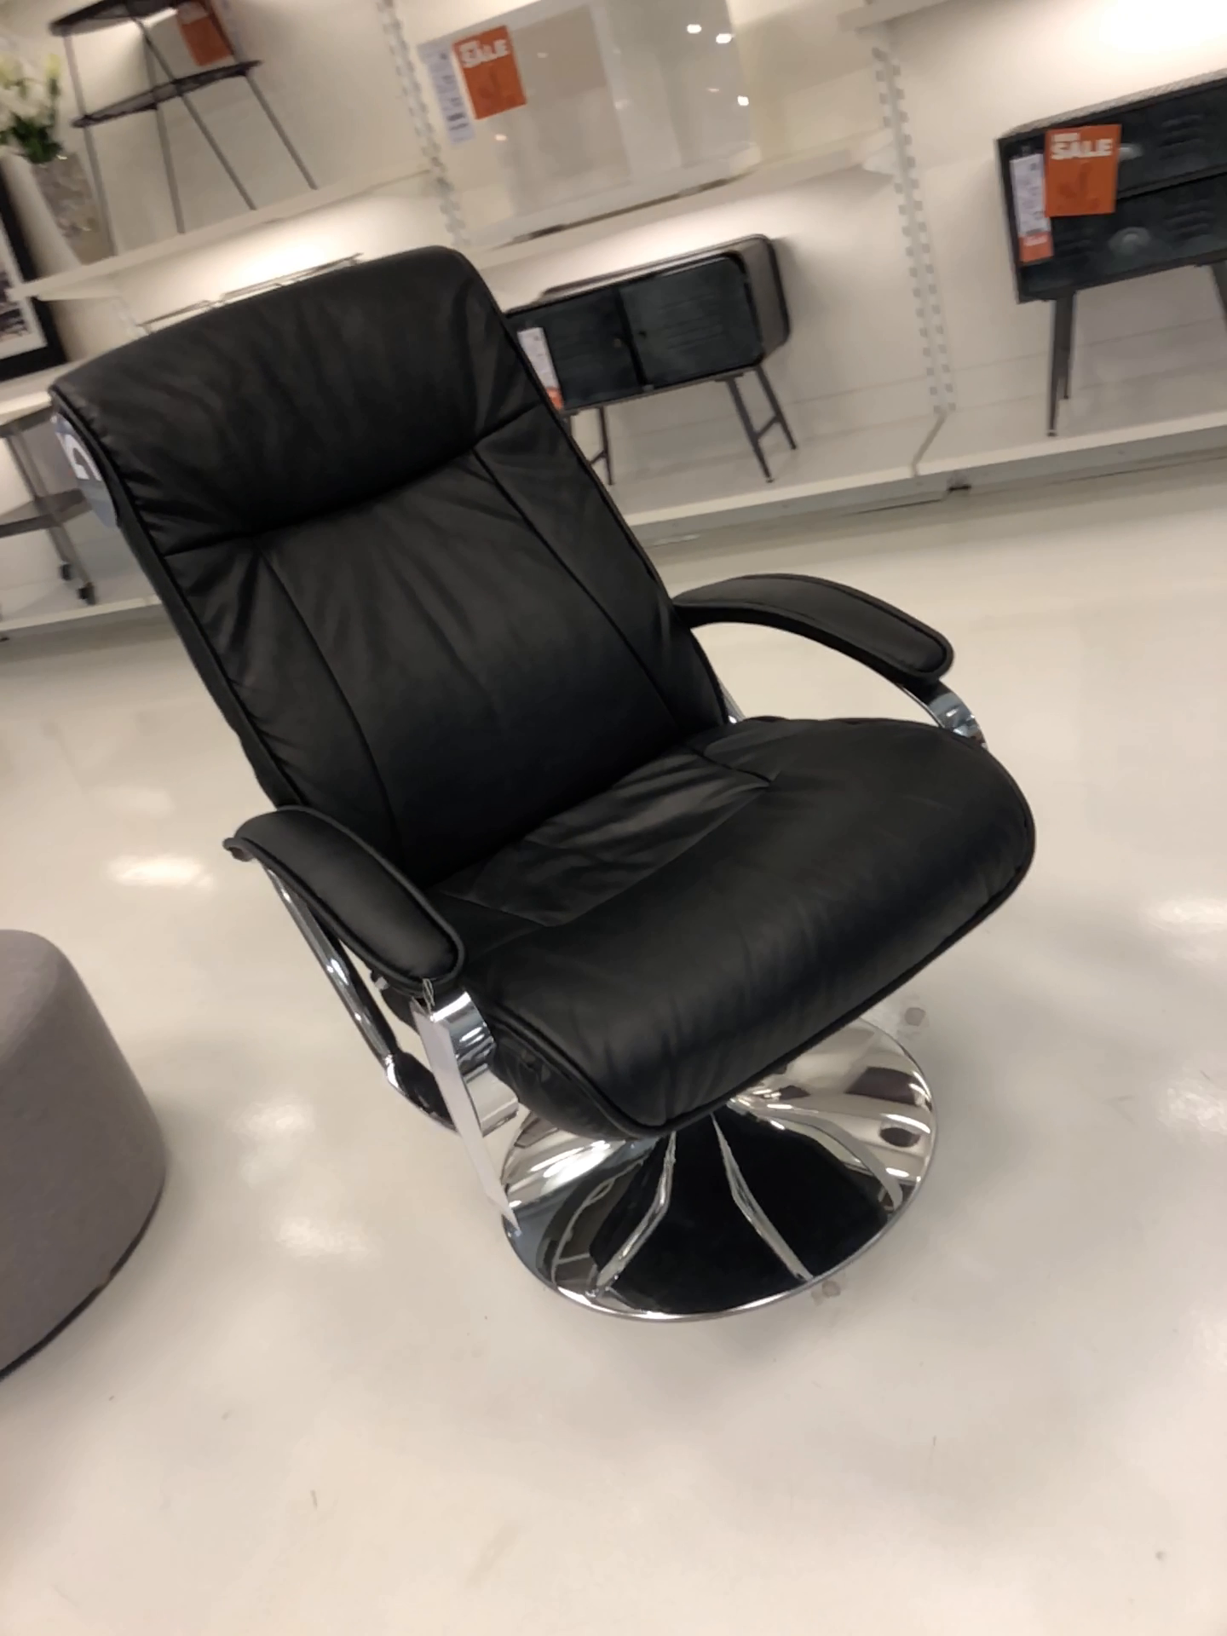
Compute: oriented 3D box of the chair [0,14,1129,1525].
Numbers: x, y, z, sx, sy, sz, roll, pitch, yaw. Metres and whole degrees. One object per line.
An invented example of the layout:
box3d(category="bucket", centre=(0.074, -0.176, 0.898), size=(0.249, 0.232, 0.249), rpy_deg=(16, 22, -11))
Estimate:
box3d(category="chair", centre=(-0.037, -0.080, 1.471), size=(0.752, 1.132, 0.723), rpy_deg=(-32, 29, -28))
